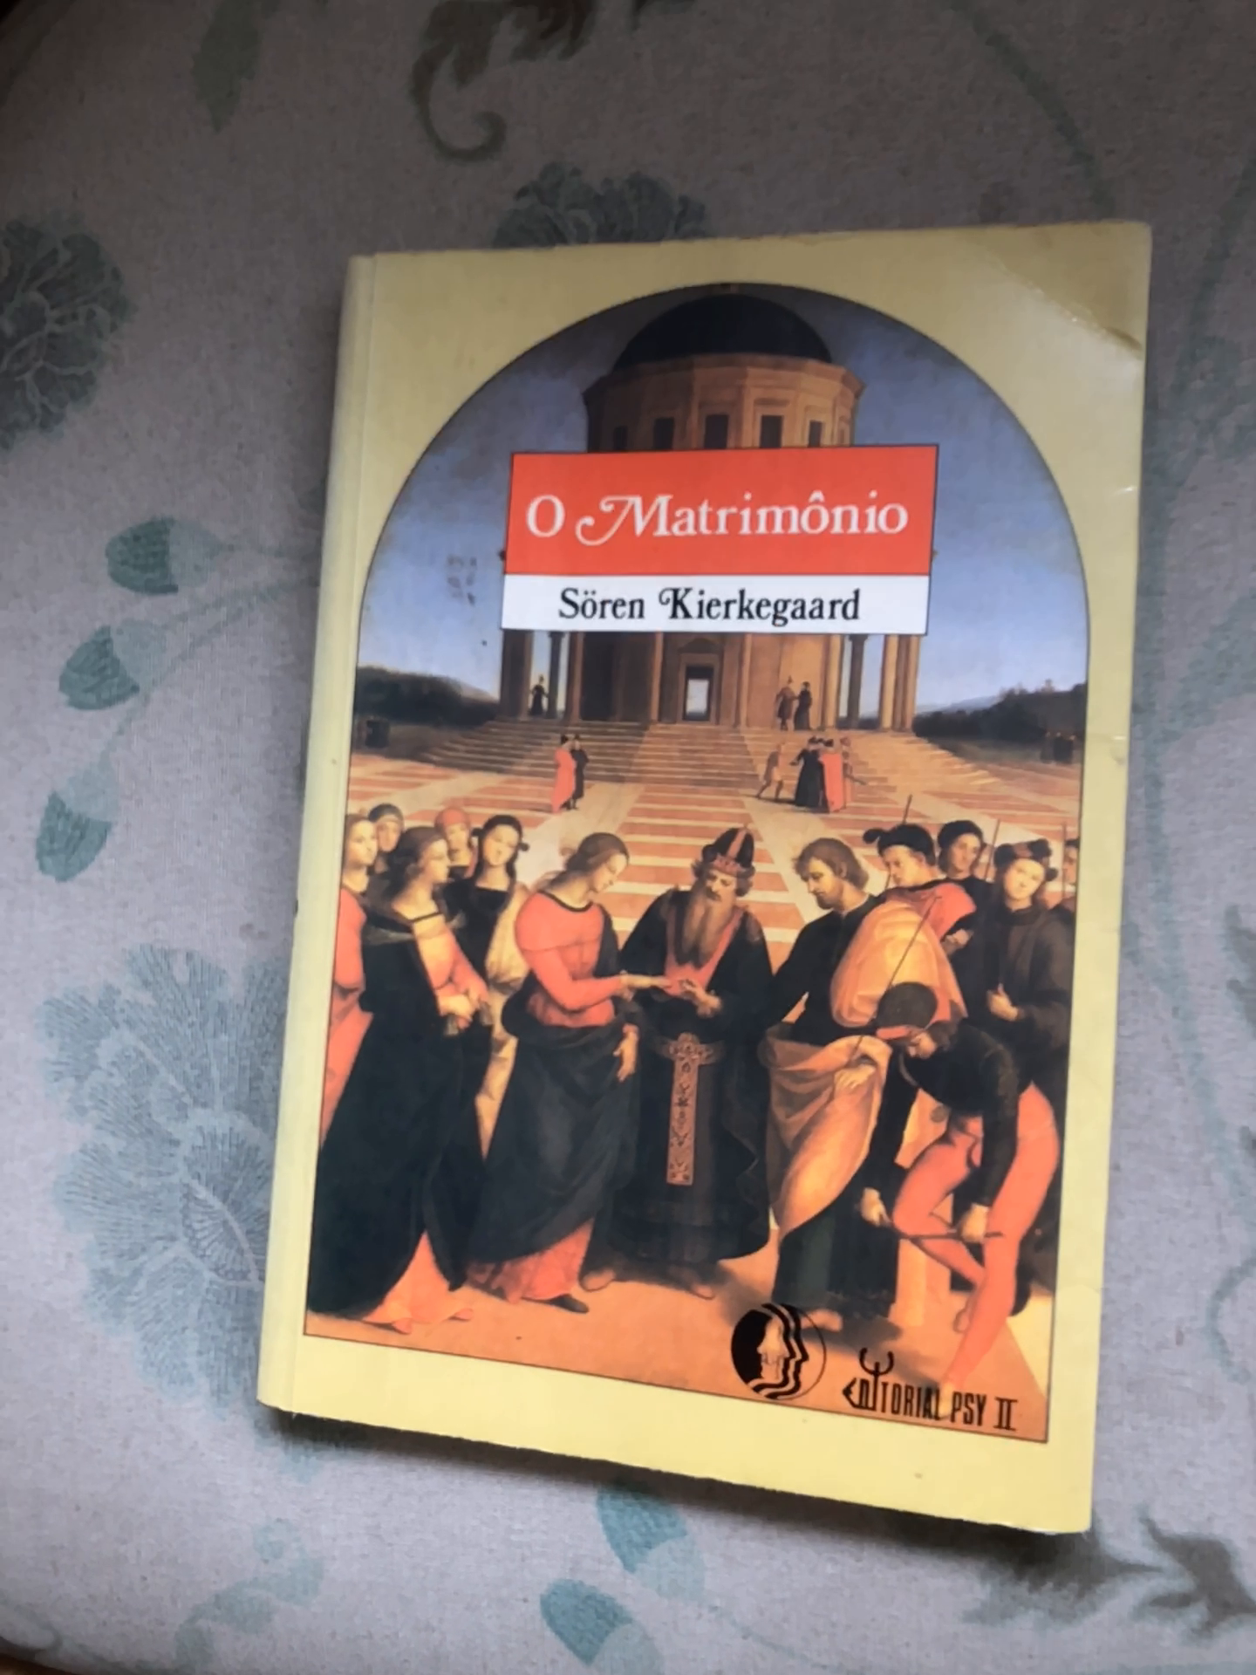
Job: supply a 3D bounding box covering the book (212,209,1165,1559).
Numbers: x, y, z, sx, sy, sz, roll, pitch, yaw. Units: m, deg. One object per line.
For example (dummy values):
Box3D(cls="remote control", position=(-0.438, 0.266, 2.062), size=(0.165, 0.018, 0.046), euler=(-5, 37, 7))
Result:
Box3D(cls="book", position=(0.007, 0.001, 0.234), size=(0.140, 0.020, 0.200), euler=(4, 89, 13))
